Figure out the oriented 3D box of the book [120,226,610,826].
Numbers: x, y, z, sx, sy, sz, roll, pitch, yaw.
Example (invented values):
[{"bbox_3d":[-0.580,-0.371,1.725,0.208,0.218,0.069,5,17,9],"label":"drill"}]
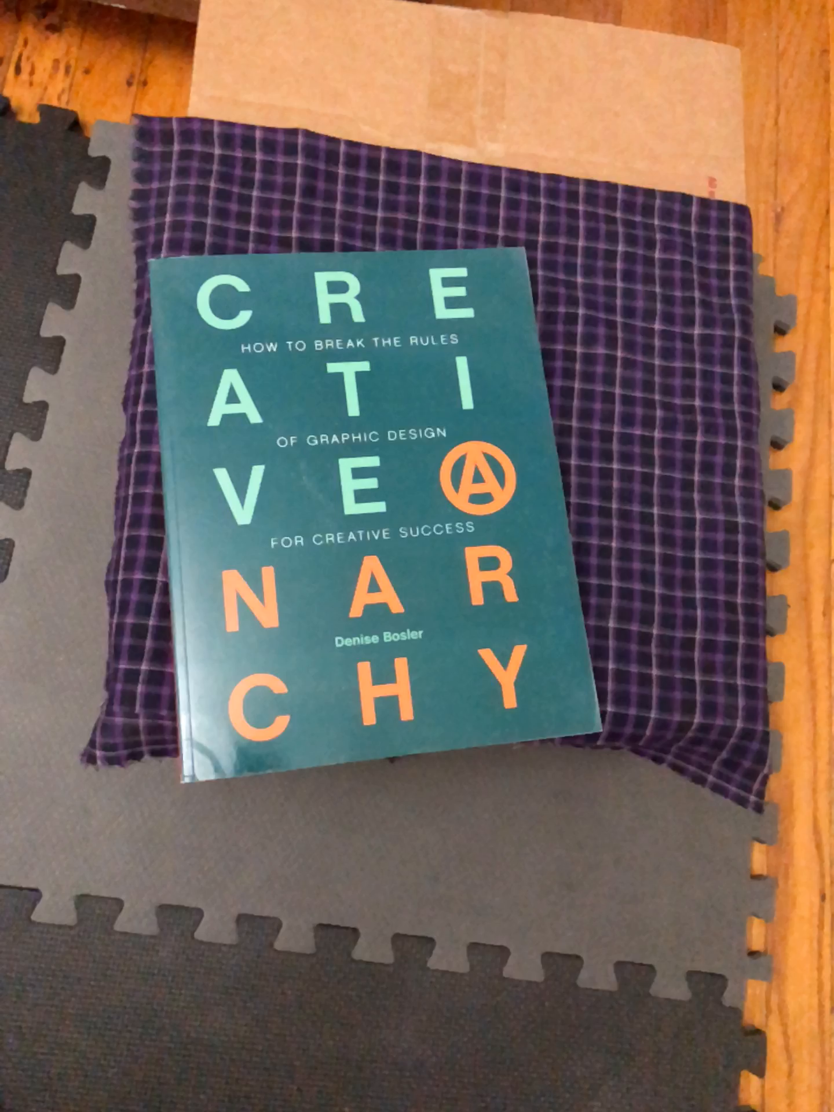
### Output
[{"bbox_3d":[-0.032,-0.029,0.481,0.220,0.020,0.300,-5,78,-9],"label":"book"}]
